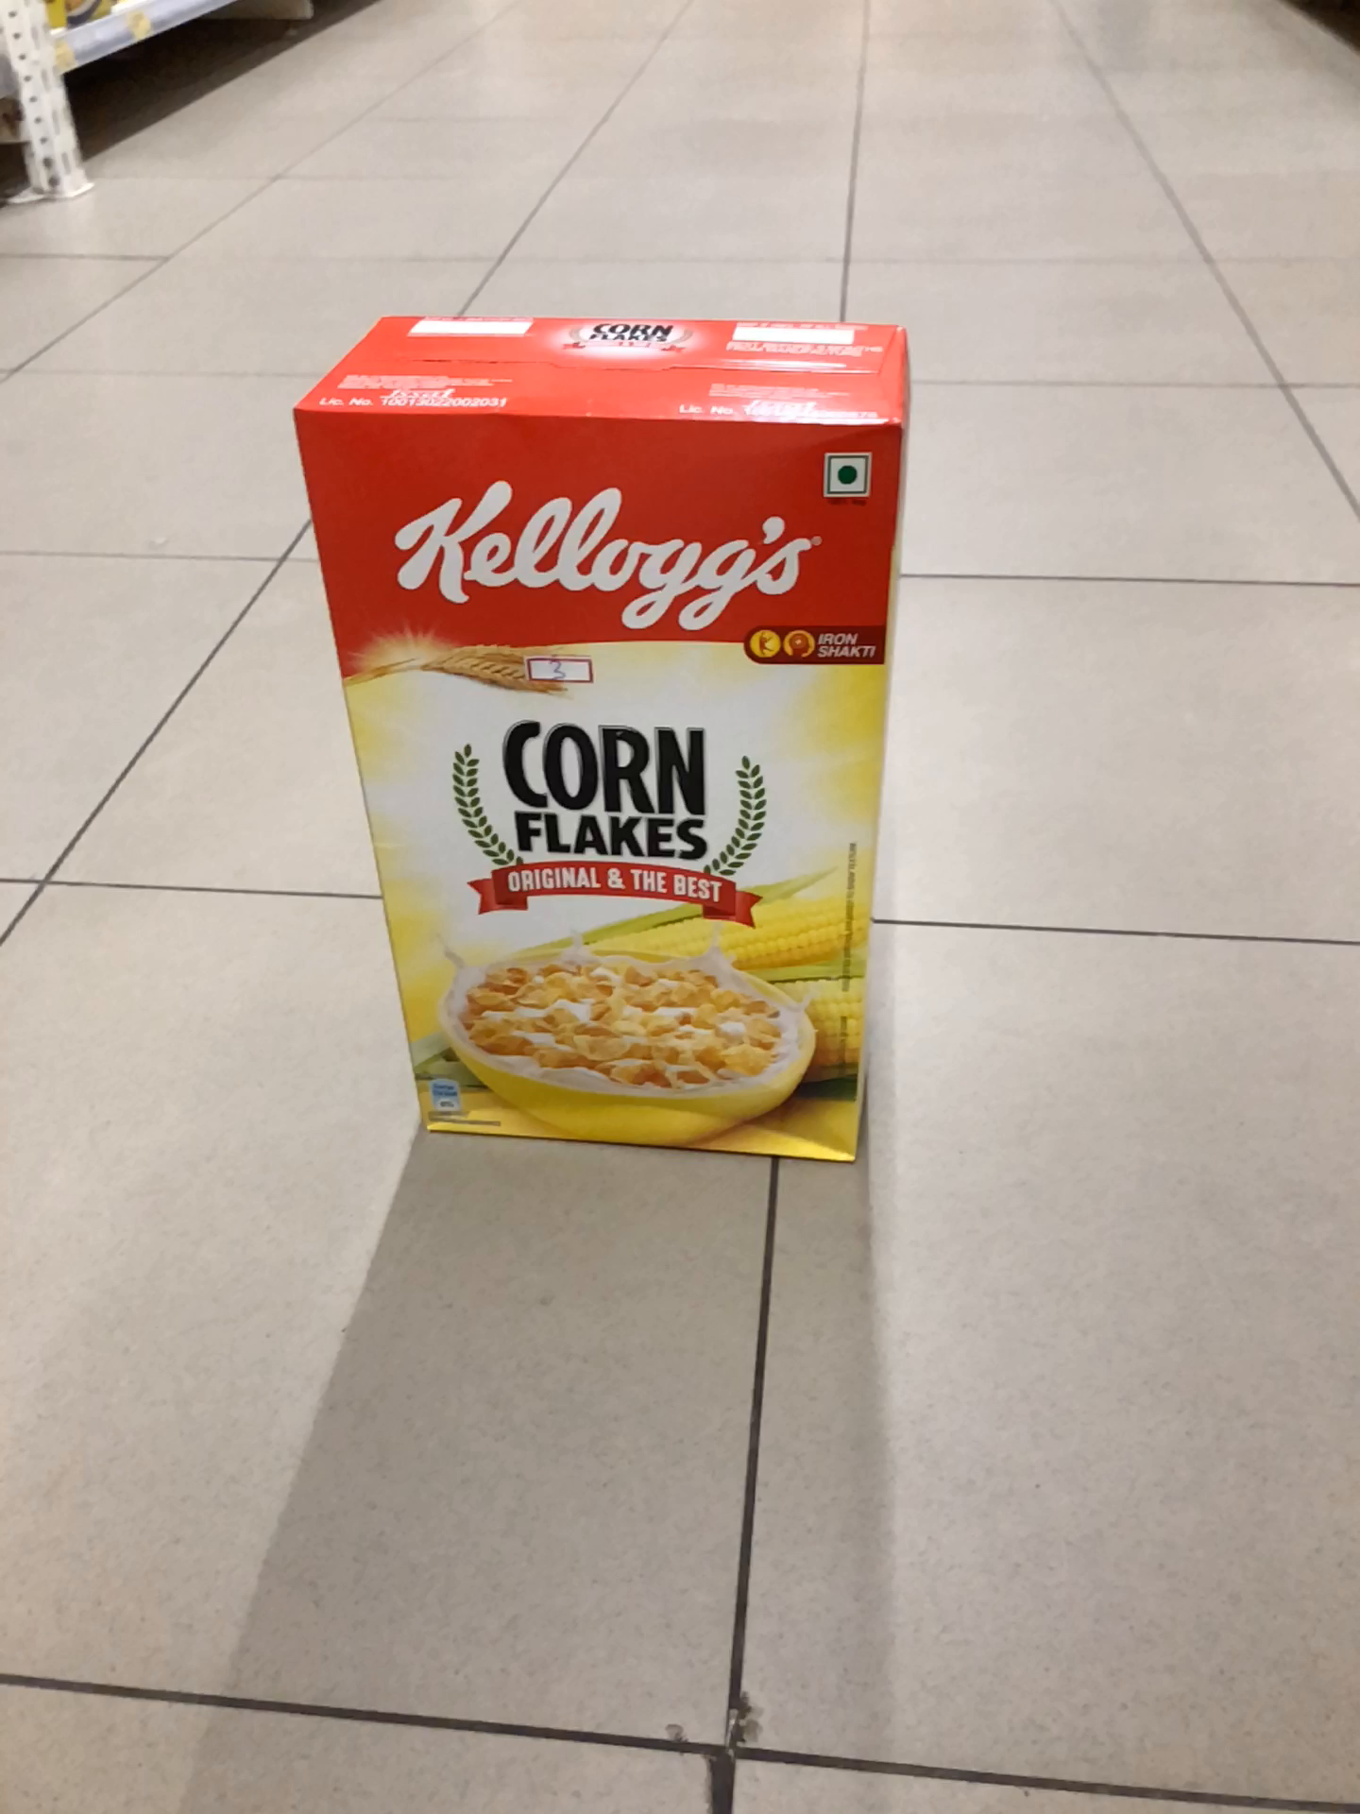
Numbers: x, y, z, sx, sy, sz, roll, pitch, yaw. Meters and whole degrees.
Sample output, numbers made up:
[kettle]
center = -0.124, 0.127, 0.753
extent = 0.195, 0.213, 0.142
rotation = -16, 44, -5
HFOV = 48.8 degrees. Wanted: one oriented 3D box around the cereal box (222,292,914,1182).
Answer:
[cereal box]
center = -0.024, -0.050, 0.563
extent = 0.200, 0.318, 0.101
rotation = 3, 38, 6
